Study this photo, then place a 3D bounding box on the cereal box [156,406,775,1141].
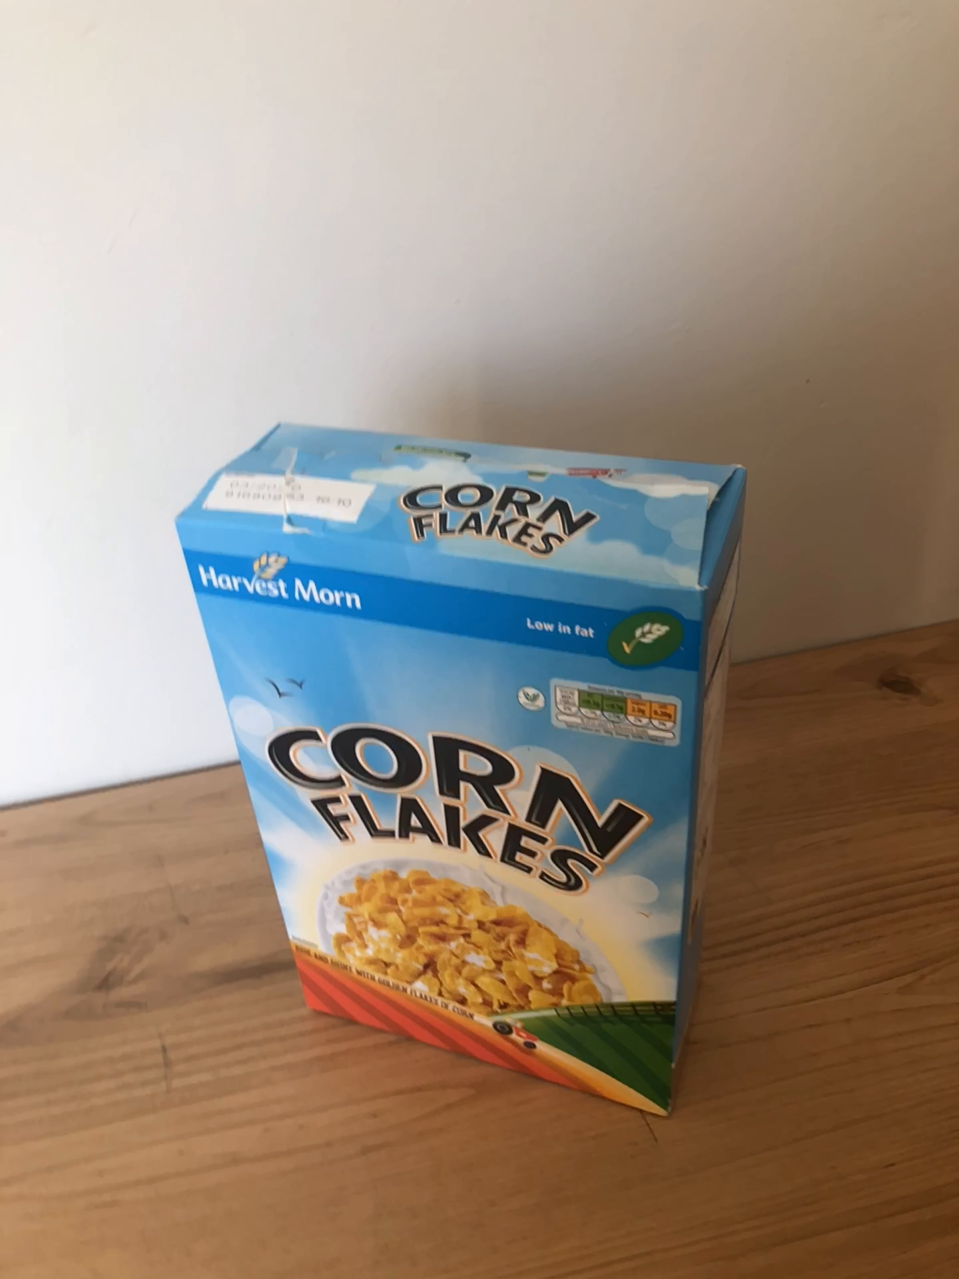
[{"bbox_3d":[0.004,0.068,0.461,0.200,0.308,0.080,10,39,19],"label":"cereal box"}]
